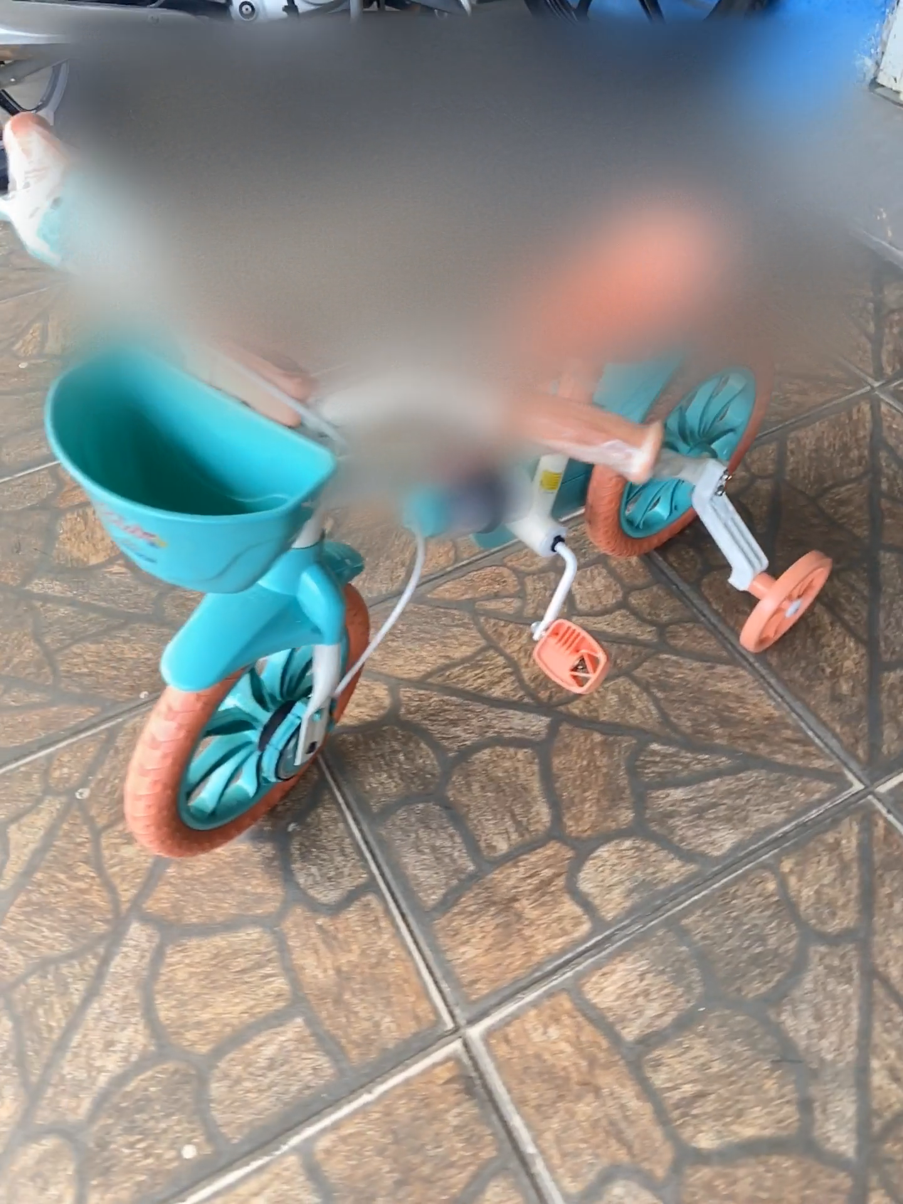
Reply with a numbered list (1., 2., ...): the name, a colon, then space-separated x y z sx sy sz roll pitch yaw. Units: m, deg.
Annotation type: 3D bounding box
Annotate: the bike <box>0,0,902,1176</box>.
1. bike: 0.067 -0.105 0.791 0.808 0.534 0.499 -34 56 -26
